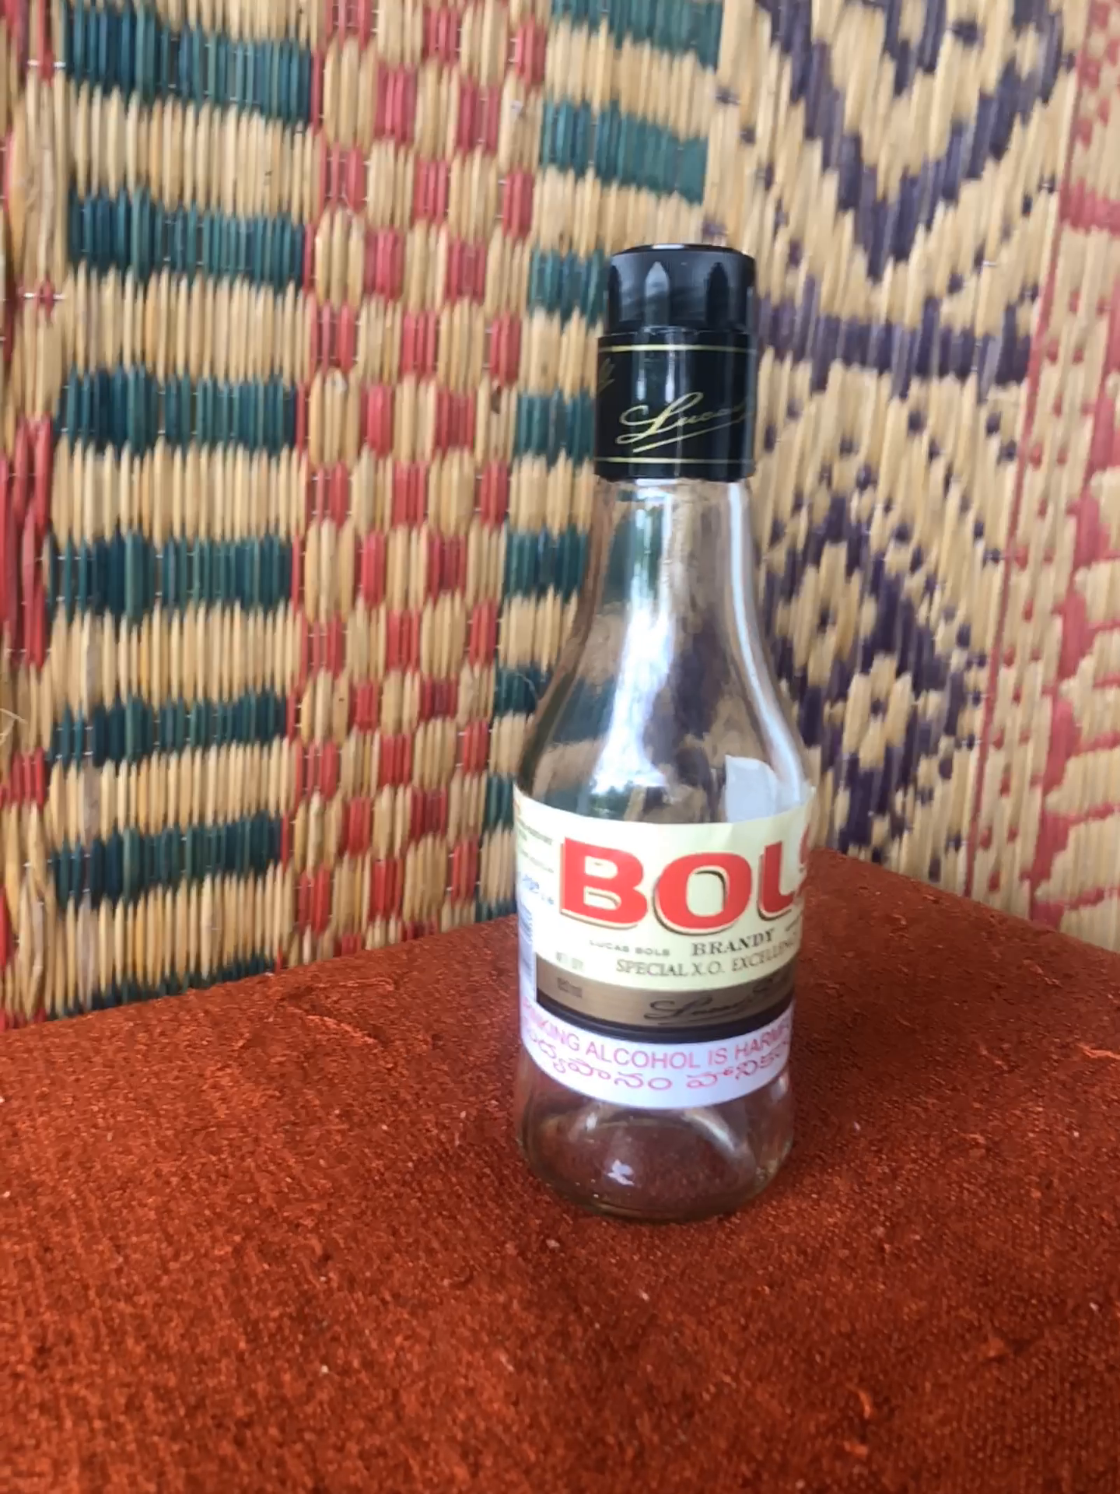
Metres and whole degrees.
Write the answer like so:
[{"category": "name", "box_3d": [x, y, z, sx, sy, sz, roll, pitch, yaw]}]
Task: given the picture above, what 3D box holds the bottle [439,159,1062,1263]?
[{"category": "bottle", "box_3d": [0.027, -0.007, 0.218, 0.070, 0.159, 0.060, -5, 17, -30]}]
